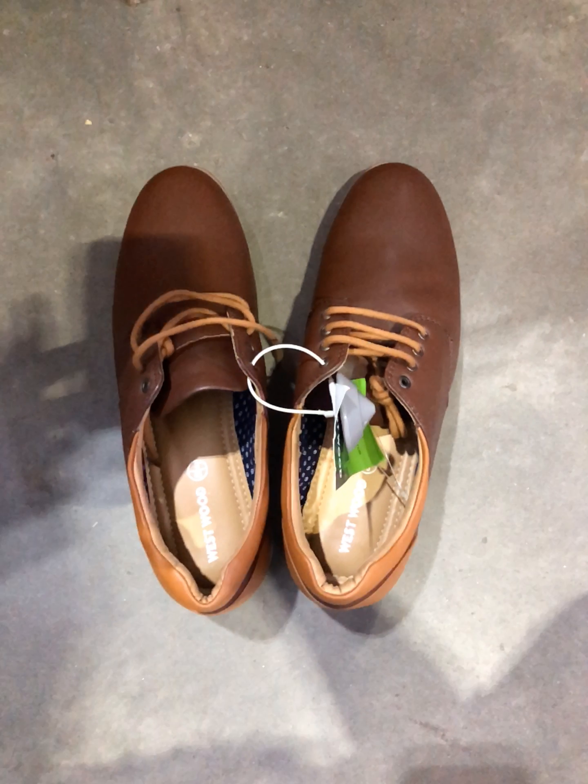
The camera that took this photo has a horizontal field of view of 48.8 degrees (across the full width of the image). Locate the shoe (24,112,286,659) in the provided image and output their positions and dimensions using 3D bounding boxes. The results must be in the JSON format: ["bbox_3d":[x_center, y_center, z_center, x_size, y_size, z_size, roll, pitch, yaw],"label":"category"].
[{"bbox_3d":[-0.079,-0.004,0.400,0.110,0.120,0.280,-7,80,0],"label":"shoe"}]

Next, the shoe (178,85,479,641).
[{"bbox_3d":[0.026,-0.018,0.437,0.120,0.130,0.310,10,81,3],"label":"shoe"}]
